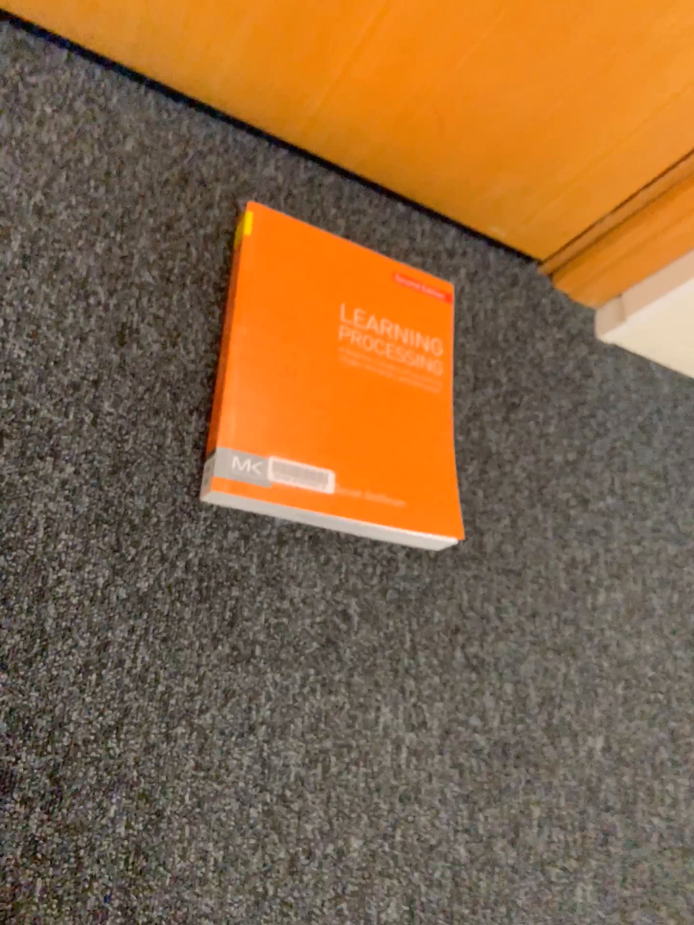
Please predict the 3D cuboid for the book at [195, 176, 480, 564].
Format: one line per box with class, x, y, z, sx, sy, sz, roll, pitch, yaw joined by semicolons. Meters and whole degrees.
book;0.005;-0.069;0.562;0.210;0.040;0.261;15;64;-26
